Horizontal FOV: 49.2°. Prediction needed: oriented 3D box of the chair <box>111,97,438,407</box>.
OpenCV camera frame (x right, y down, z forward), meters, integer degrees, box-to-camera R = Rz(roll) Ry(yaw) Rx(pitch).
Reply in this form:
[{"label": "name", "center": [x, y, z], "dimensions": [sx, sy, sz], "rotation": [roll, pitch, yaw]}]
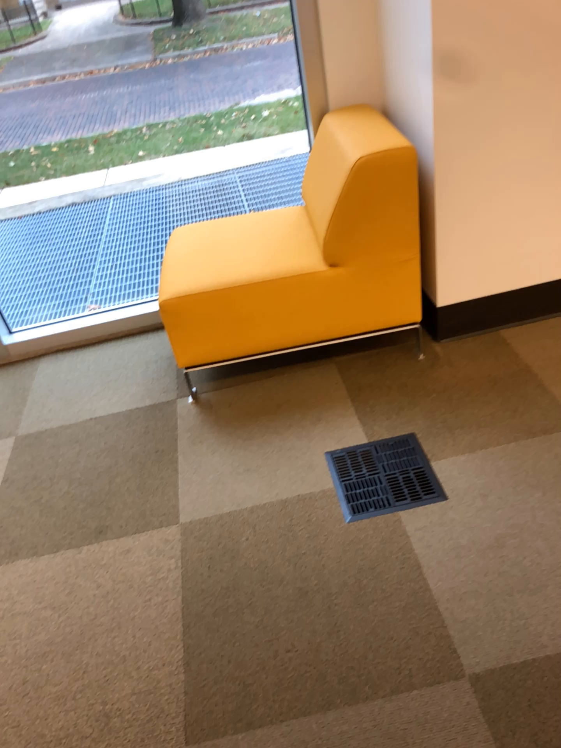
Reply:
[{"label": "chair", "center": [0.003, -0.465, 2.270], "dimensions": [0.946, 0.751, 0.674], "rotation": [-11, 35, 1]}]
